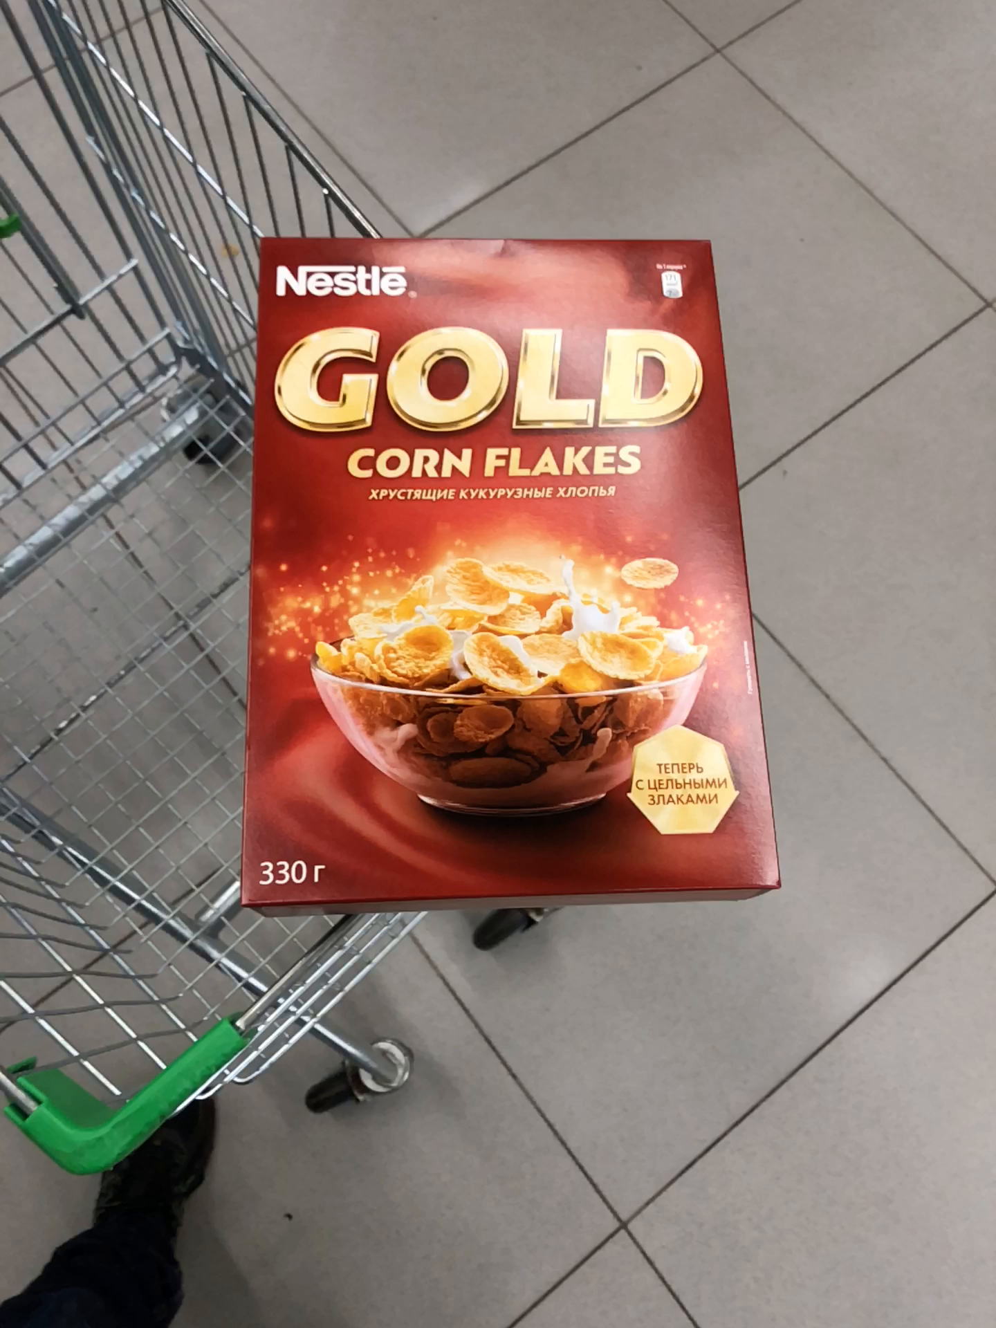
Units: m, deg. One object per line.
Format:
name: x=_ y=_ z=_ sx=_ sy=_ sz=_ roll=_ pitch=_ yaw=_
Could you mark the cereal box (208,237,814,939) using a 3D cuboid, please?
cereal box: x=0.000 y=-0.036 z=0.449 sx=0.210 sy=0.060 sz=0.280 roll=-1 pitch=73 yaw=-2
